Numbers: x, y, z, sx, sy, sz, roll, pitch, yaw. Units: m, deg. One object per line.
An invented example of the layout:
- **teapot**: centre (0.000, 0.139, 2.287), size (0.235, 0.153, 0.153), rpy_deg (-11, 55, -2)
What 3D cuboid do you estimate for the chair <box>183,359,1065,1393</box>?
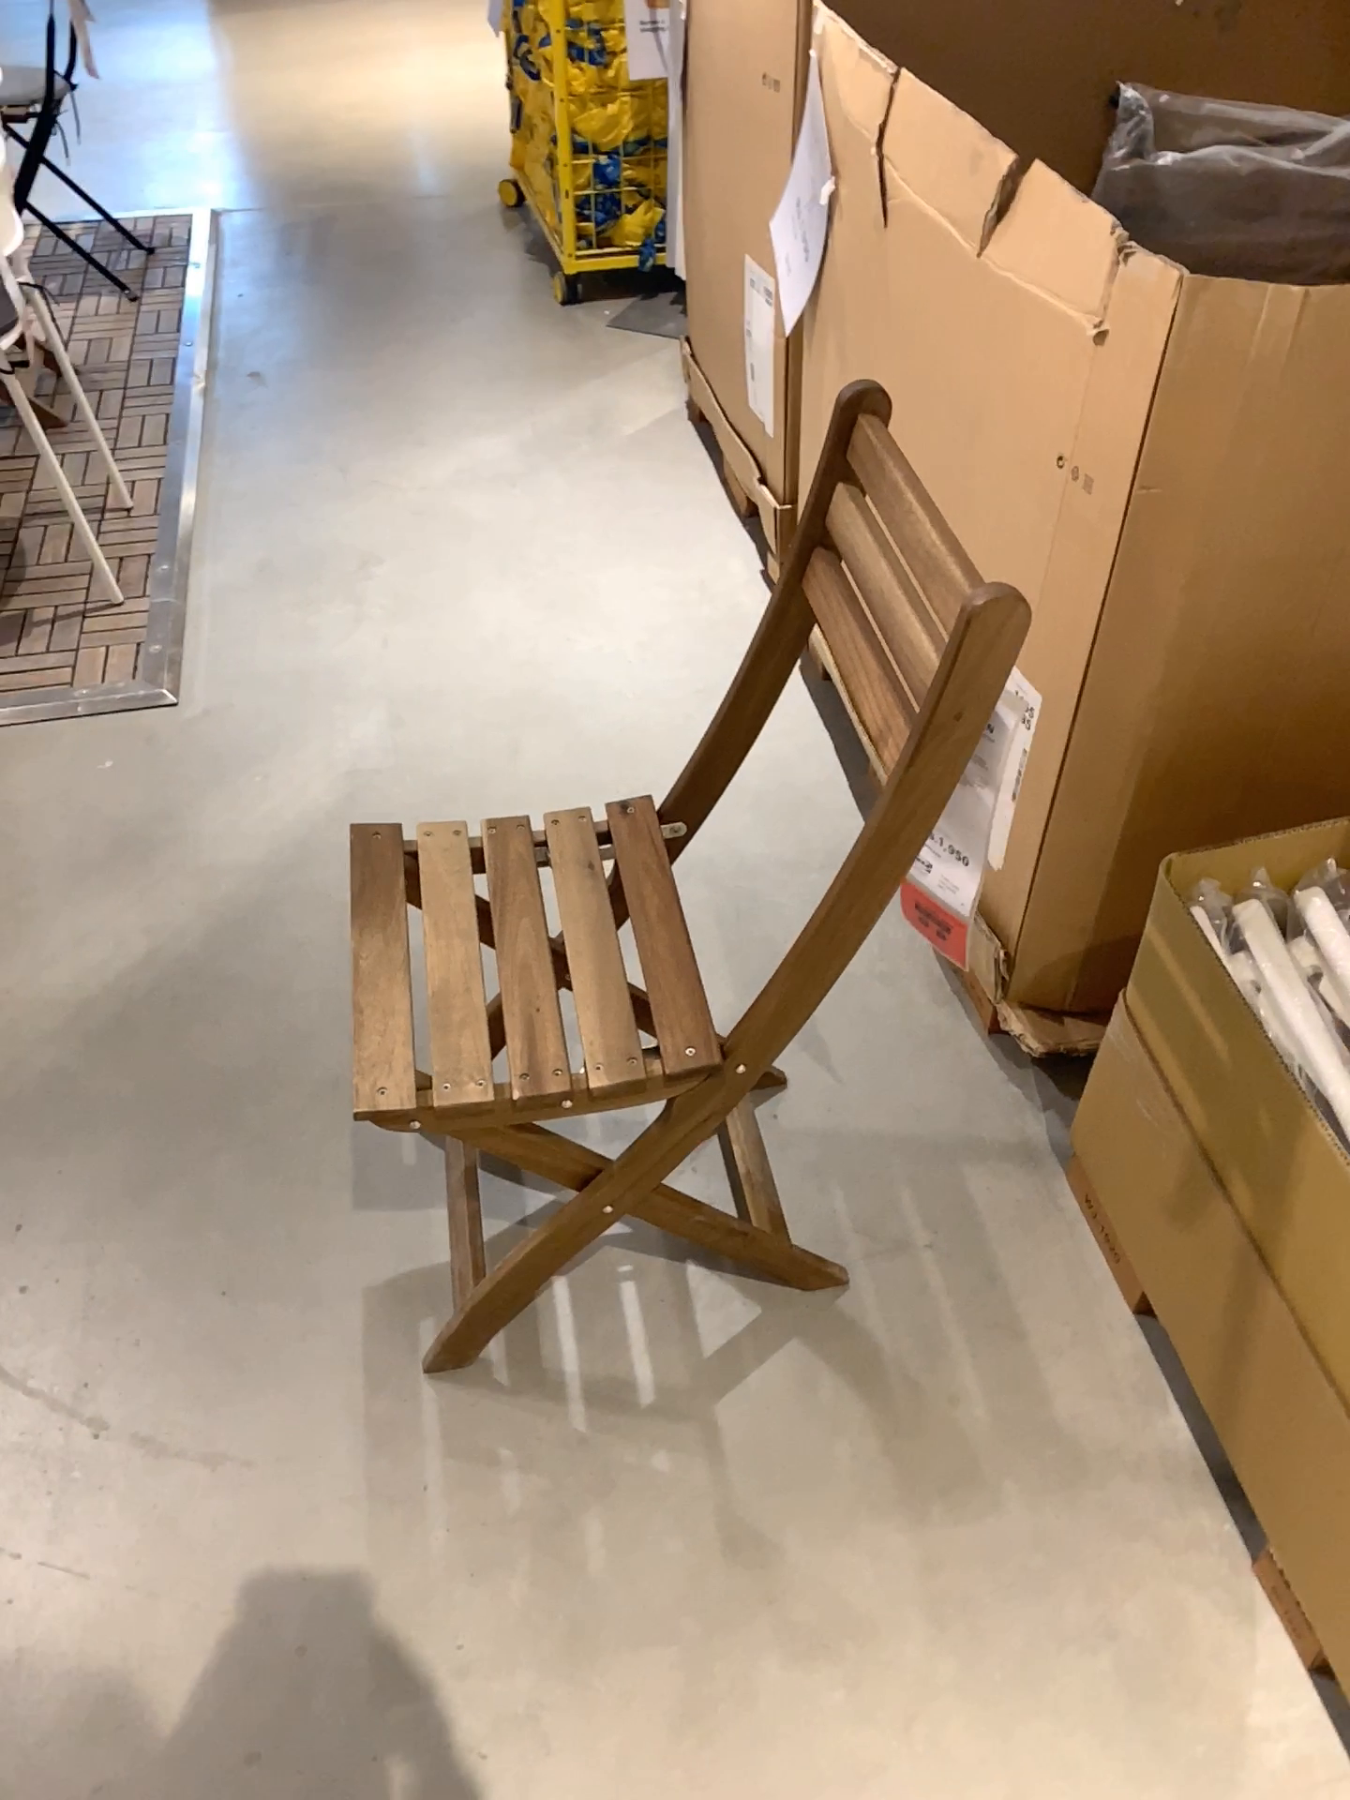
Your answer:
- **chair**: centre (-0.056, 0.011, 1.191), size (0.510, 0.767, 0.402), rpy_deg (-7, 44, -8)
